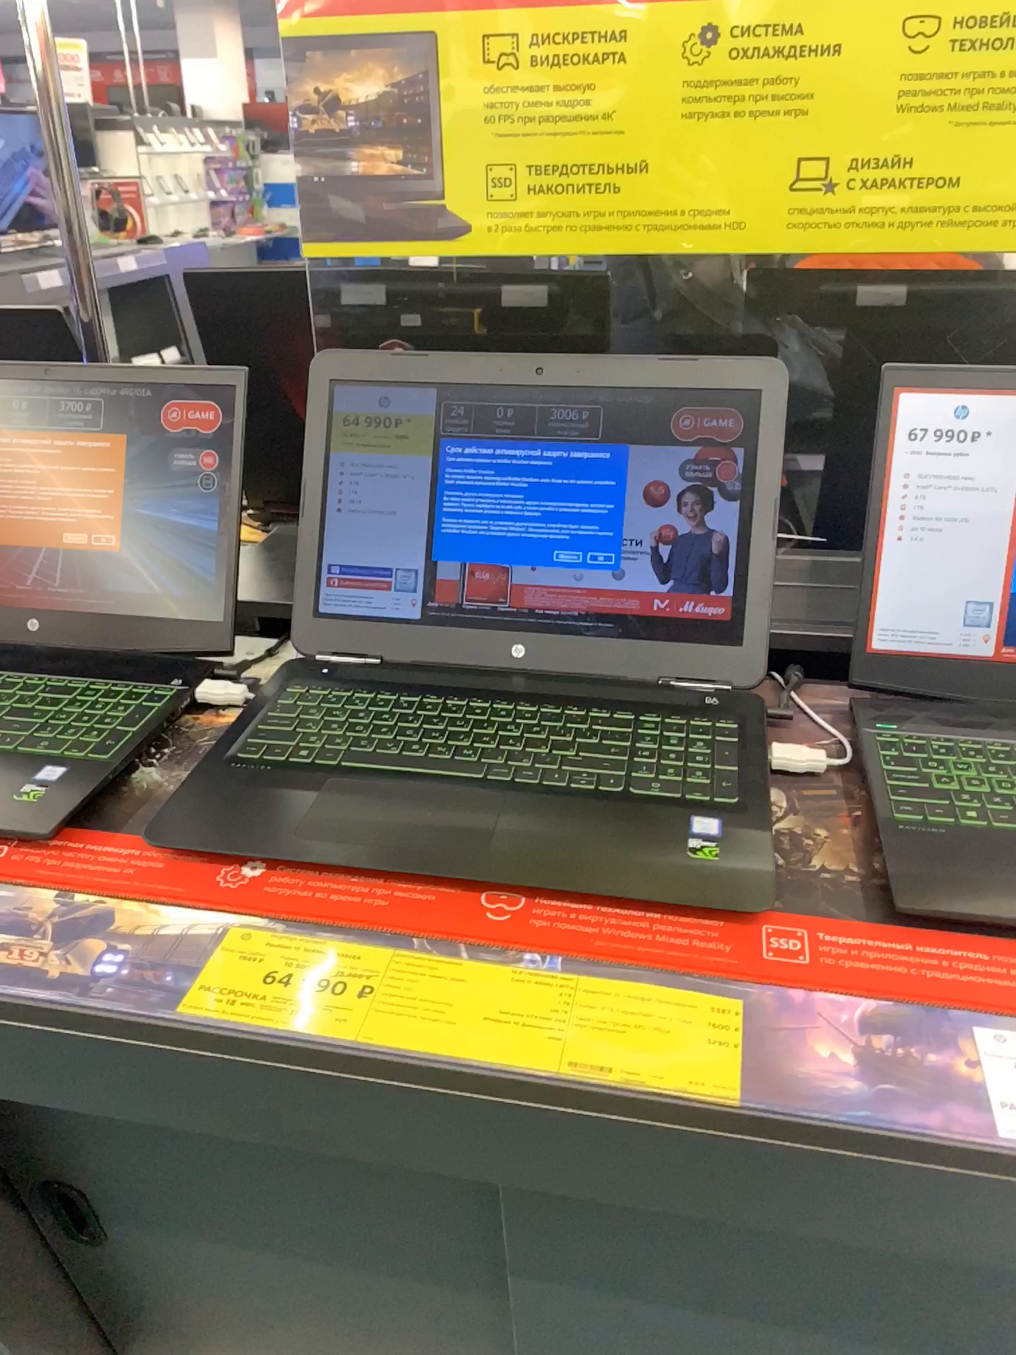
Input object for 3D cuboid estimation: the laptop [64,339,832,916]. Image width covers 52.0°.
[{"bbox_3d":[-0.006,-0.076,0.718,0.384,0.223,0.381,5,28,10],"label":"laptop"}]
